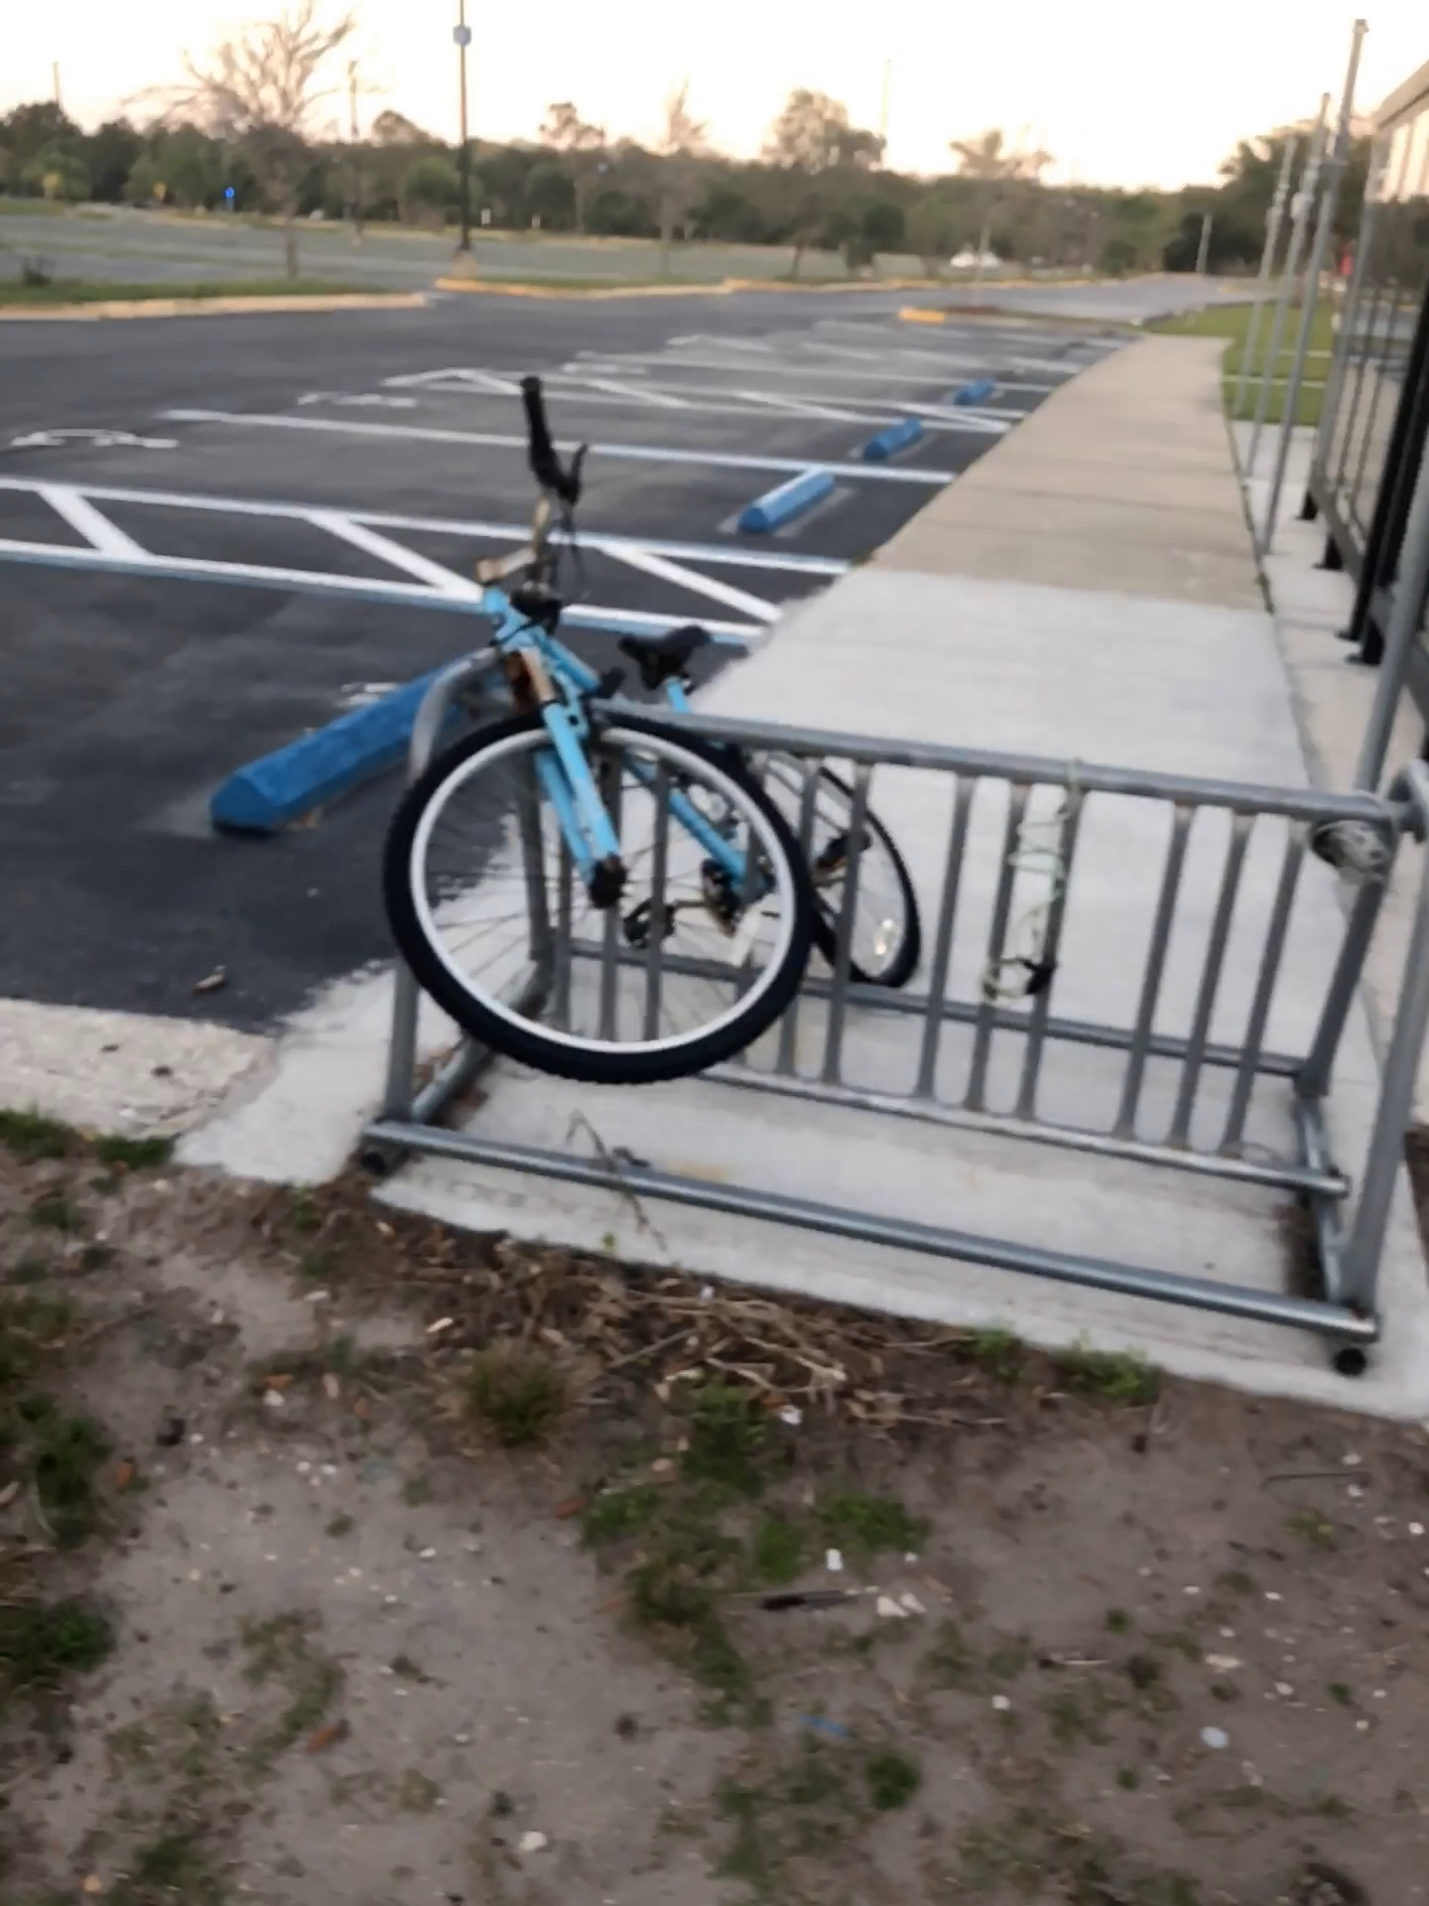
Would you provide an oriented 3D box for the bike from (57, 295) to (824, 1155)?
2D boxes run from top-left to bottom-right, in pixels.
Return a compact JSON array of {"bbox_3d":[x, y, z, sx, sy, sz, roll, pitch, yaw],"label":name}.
[{"bbox_3d":[-0.389,-0.393,2.568,0.549,1.128,0.940,20,27,33],"label":"bike"}]
